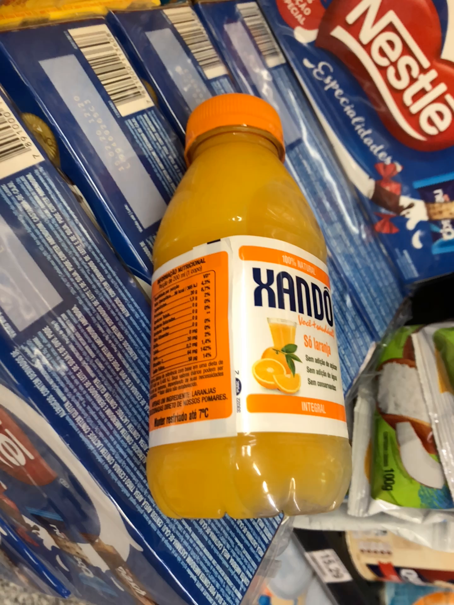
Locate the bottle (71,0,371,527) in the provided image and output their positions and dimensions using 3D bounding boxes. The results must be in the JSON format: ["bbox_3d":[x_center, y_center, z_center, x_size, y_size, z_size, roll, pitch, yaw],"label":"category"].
[{"bbox_3d":[-0.005,-0.013,0.194,0.060,0.079,0.170,16,66,-42],"label":"bottle"}]
